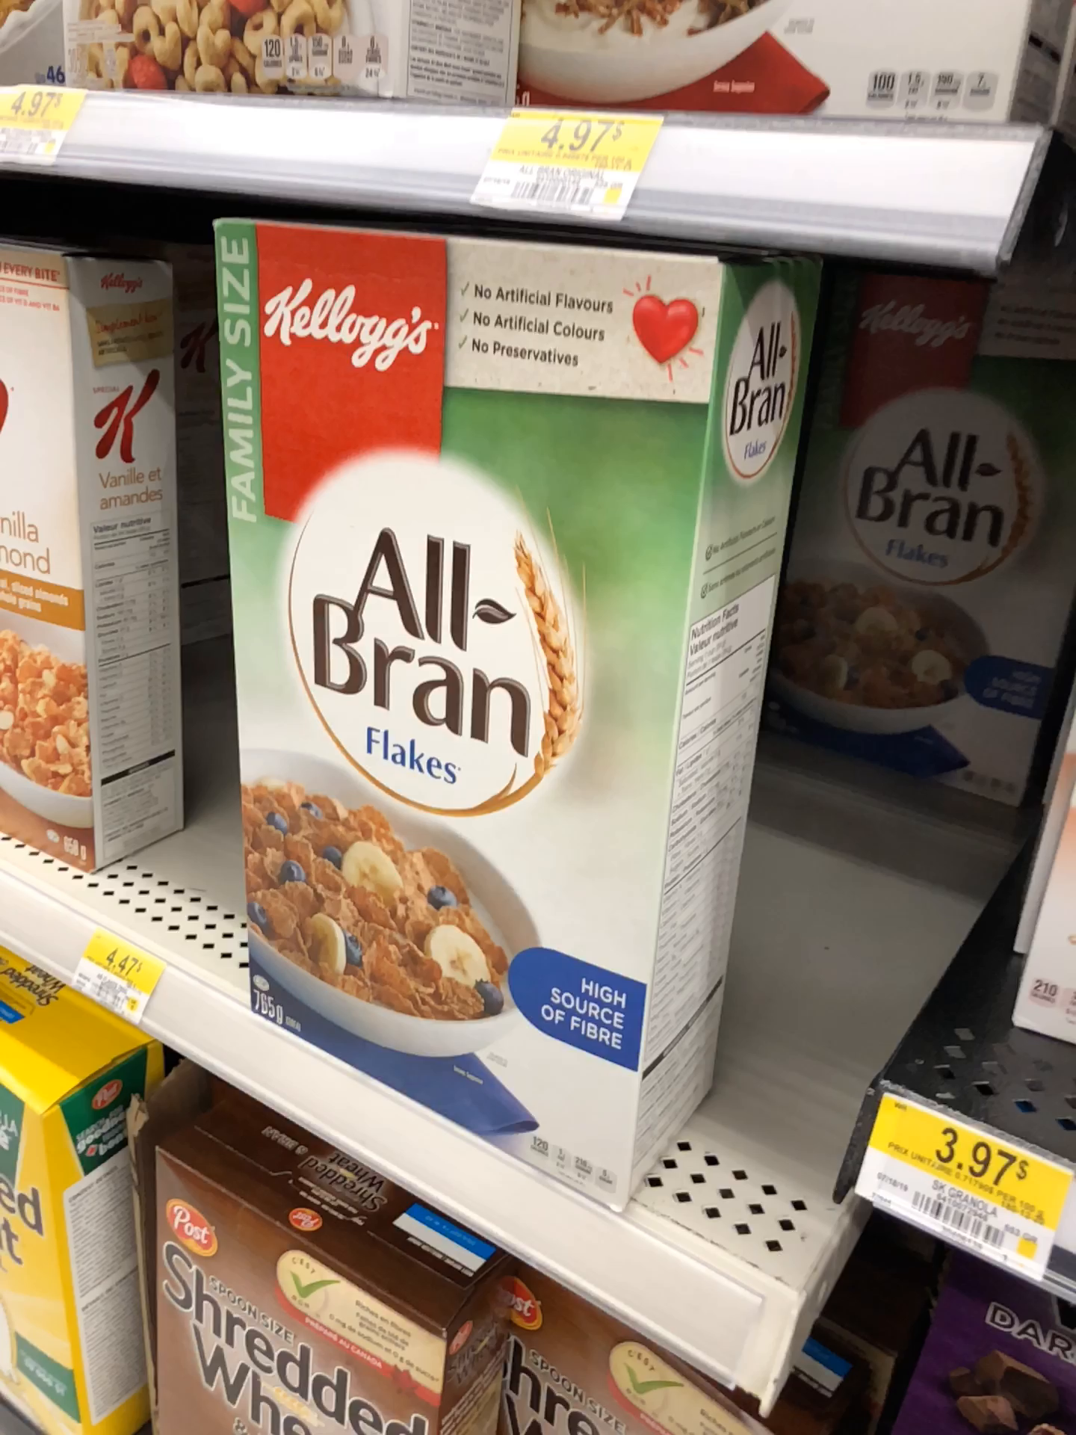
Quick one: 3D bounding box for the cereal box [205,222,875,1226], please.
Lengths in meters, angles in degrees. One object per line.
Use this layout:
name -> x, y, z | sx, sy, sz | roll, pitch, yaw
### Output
cereal box -> -0.017, -0.006, 0.447 | 0.210, 0.318, 0.080 | 18, 25, 29
